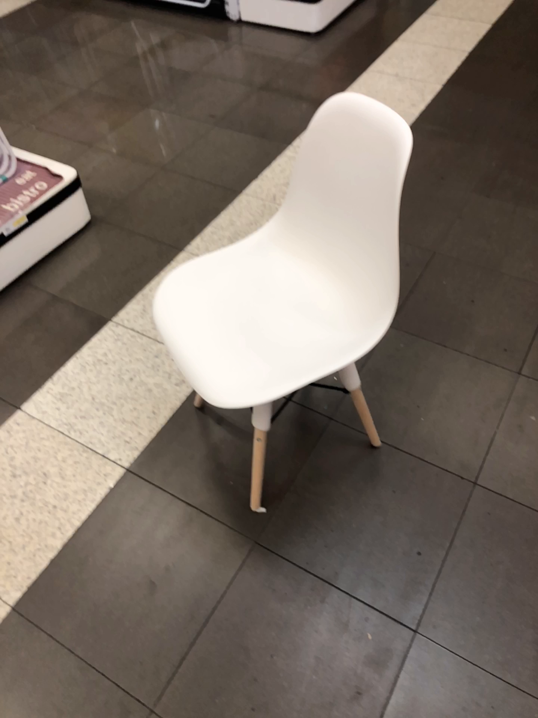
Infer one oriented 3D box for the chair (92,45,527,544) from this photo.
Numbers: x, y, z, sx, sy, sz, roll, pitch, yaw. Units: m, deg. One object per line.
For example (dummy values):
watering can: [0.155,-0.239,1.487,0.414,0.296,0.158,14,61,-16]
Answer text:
chair: [0.052,-0.112,1.273,0.541,0.795,0.523,-21,50,-14]
